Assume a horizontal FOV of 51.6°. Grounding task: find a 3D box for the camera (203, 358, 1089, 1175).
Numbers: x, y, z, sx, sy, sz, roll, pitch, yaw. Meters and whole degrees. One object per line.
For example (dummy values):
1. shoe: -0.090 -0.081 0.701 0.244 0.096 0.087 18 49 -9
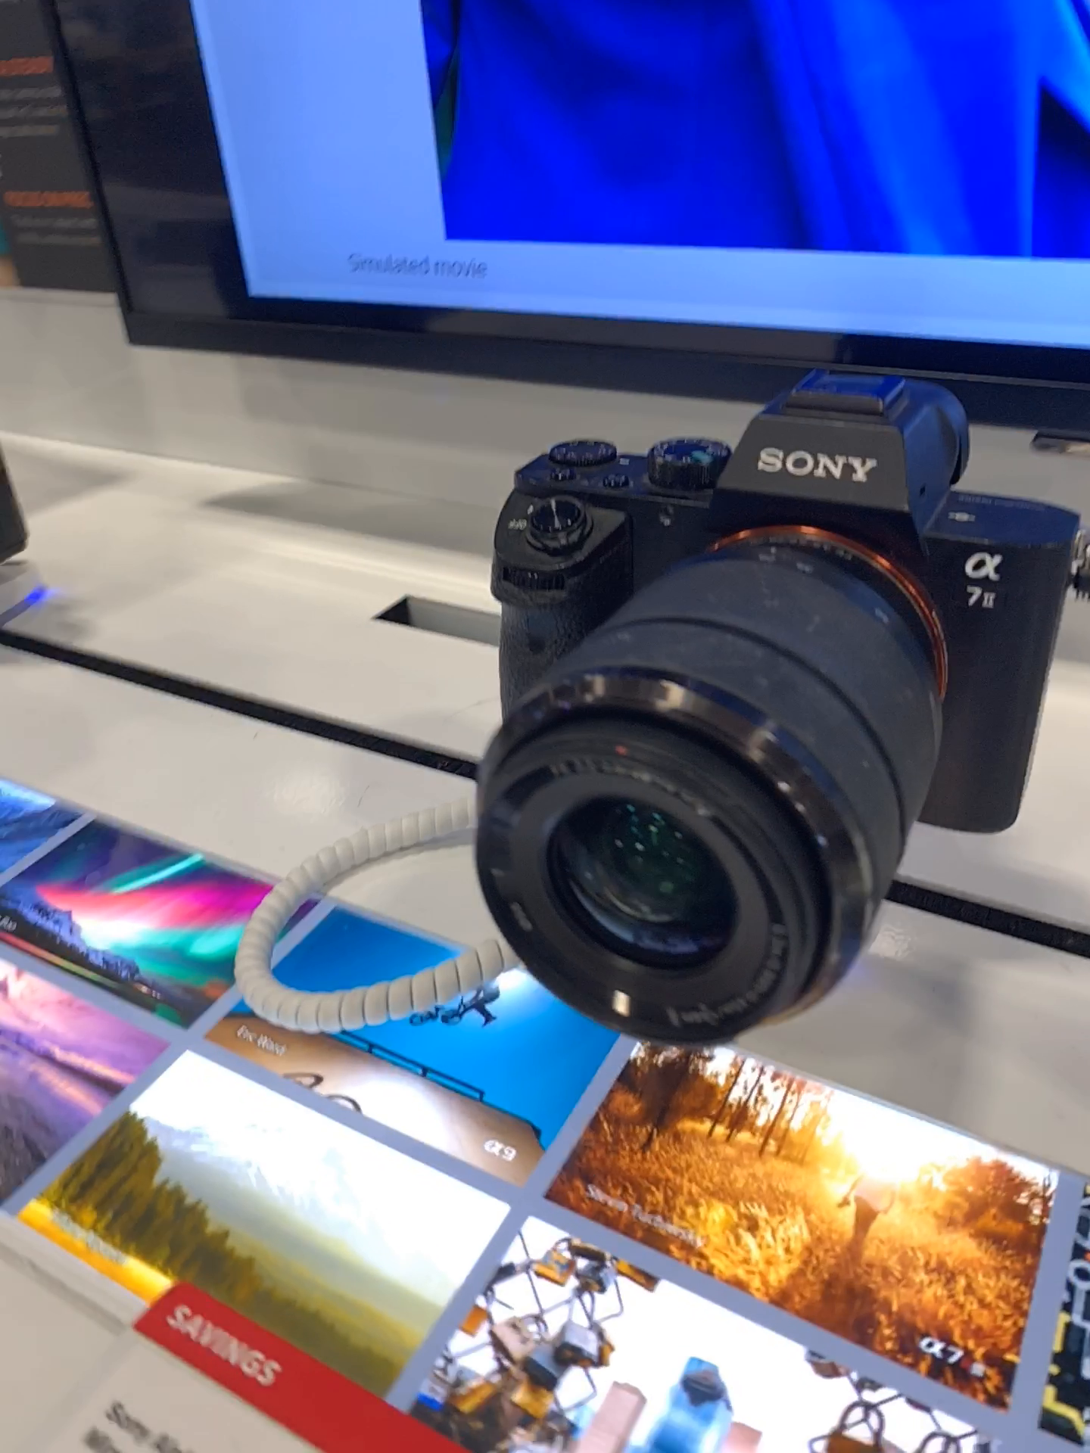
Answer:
1. camera: 0.037 -0.014 0.241 0.128 0.084 0.151 13 36 27
